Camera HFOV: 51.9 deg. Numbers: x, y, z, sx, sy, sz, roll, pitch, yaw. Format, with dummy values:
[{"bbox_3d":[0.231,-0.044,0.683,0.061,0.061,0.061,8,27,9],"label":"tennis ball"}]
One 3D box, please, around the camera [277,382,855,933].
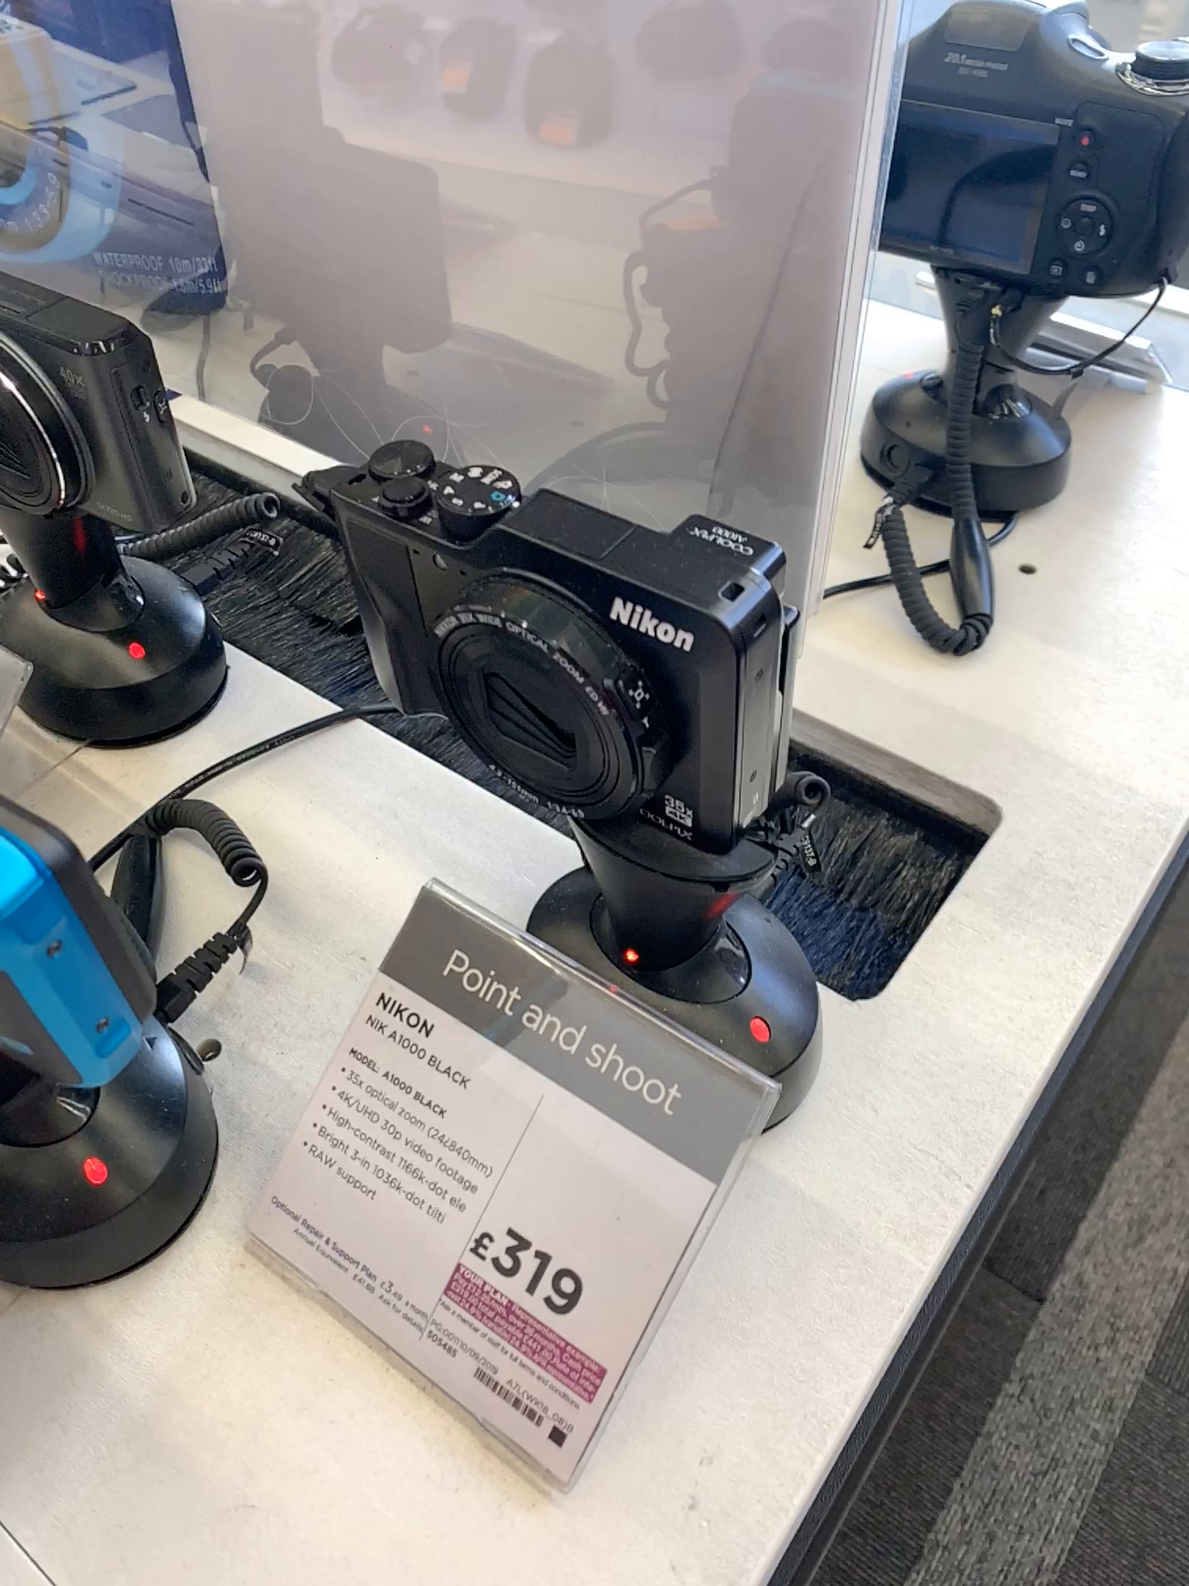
[{"bbox_3d":[-0.009,-0.031,0.270,0.120,0.079,0.030,27,54,25],"label":"camera"}]
